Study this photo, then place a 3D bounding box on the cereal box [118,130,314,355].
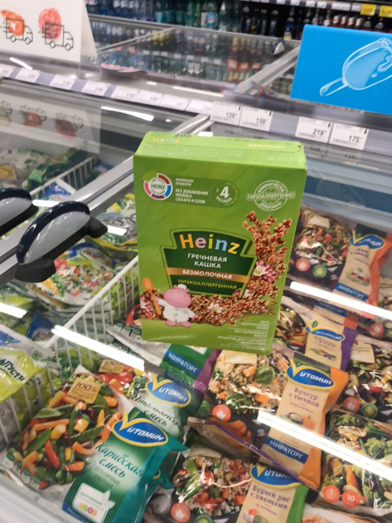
[{"bbox_3d":[0.013,-0.009,0.383,0.140,0.189,0.050,6,36,5],"label":"cereal box"}]
